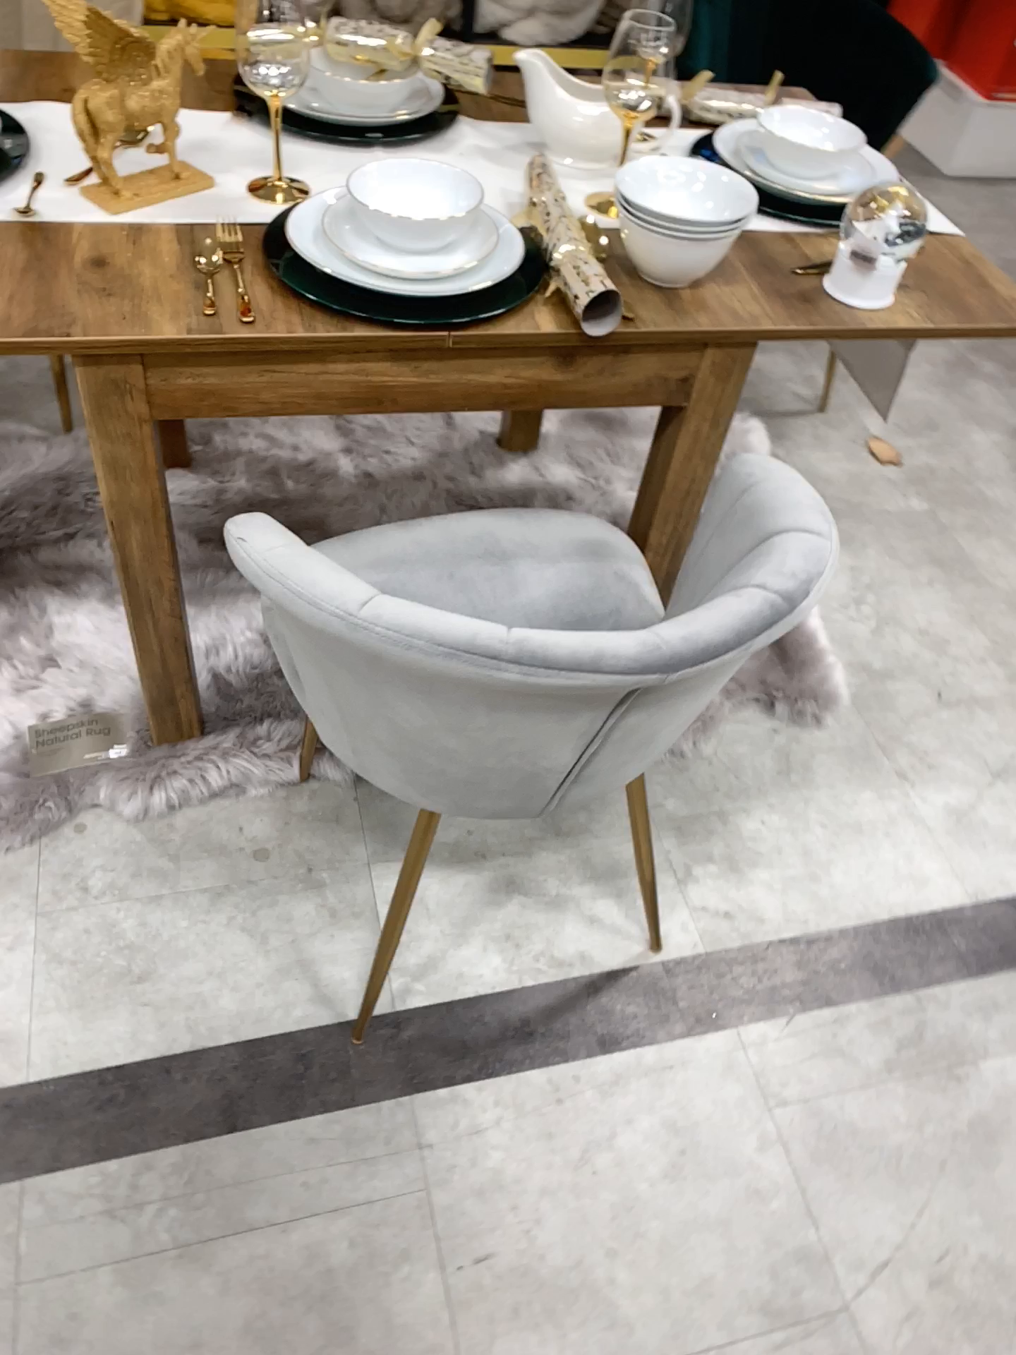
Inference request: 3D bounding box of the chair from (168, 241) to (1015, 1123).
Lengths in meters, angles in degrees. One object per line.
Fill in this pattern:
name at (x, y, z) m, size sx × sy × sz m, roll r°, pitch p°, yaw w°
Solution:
chair at (0.025, 0.002, 1.152) m, size 0.631 × 0.709 × 0.554 m, roll -10°, pitch 50°, yaw -18°
